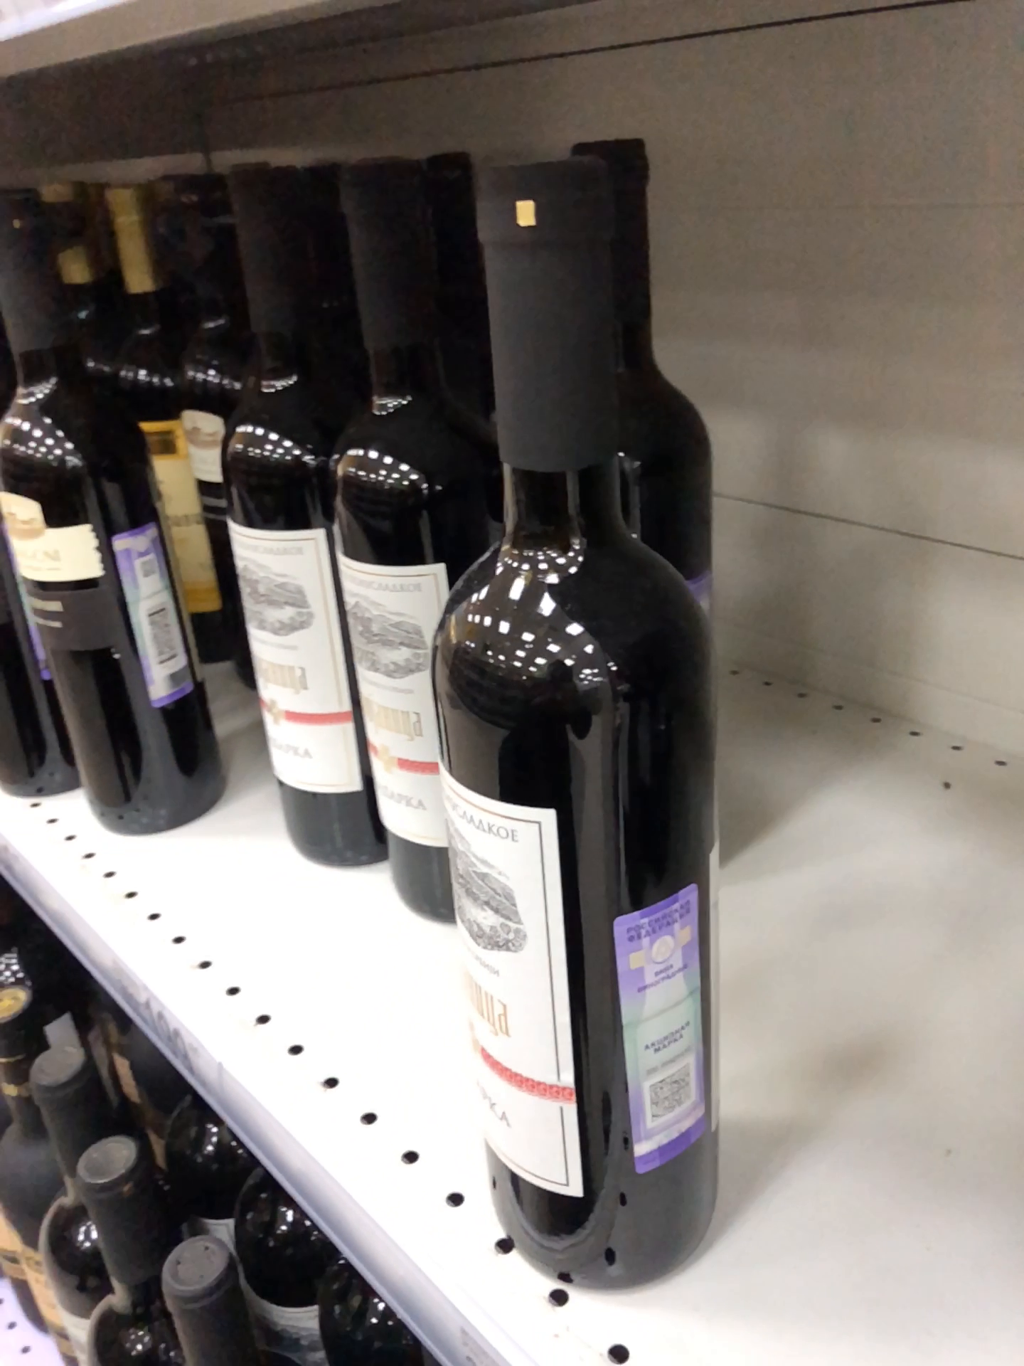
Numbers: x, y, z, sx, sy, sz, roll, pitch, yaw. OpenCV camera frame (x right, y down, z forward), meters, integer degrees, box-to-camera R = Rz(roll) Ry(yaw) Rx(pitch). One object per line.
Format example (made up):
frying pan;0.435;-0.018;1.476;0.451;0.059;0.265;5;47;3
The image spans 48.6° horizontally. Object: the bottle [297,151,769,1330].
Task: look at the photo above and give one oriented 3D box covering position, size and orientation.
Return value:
bottle;0.012;0.027;0.311;0.080;0.308;0.080;-4;26;2
